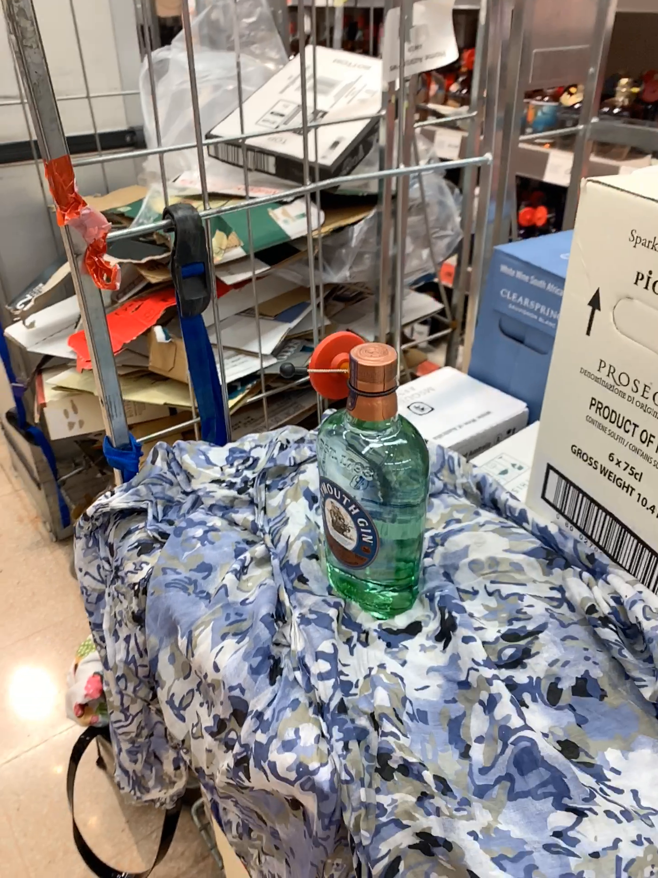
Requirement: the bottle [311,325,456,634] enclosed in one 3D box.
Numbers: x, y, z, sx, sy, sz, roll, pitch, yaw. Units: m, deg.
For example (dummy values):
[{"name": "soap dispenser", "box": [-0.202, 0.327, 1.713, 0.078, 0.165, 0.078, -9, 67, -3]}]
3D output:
[{"name": "bottle", "box": [0.037, 0.036, 0.551, 0.058, 0.228, 0.095, -21, 38, -30]}]
